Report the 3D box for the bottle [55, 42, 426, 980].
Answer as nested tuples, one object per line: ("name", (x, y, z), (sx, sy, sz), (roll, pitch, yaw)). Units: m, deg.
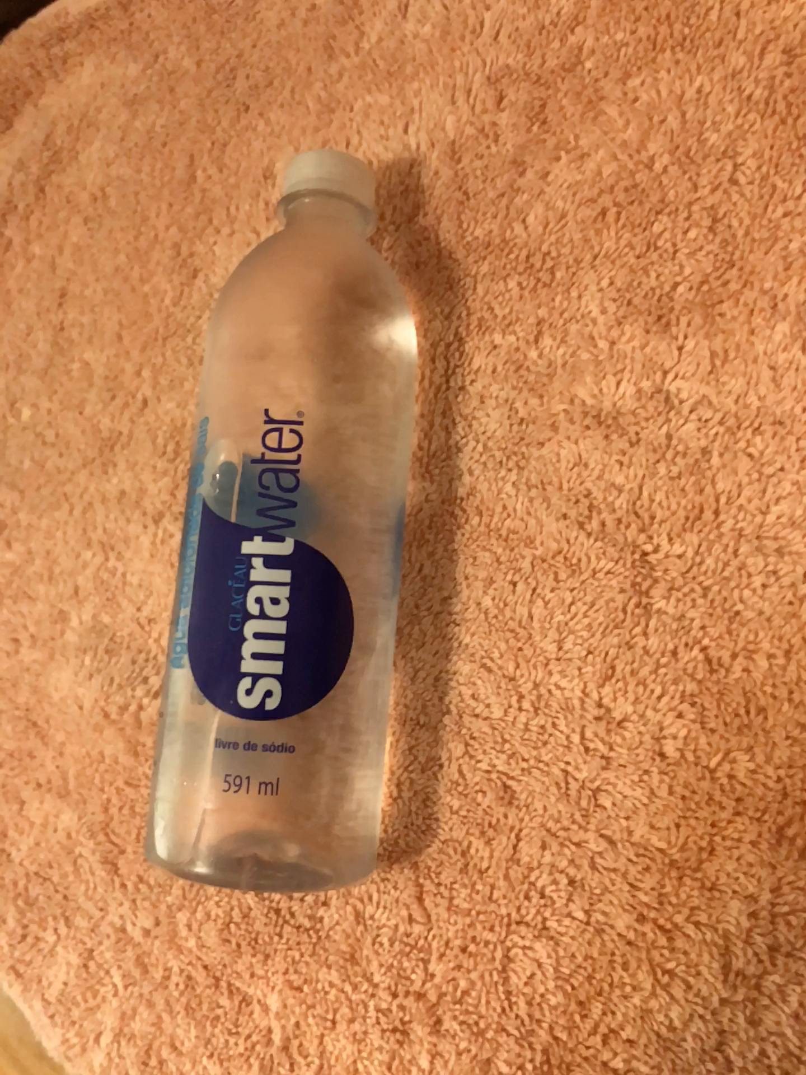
("bottle", (-0.044, -0.010, 0.260), (0.080, 0.050, 0.230), (-3, 81, 31))
